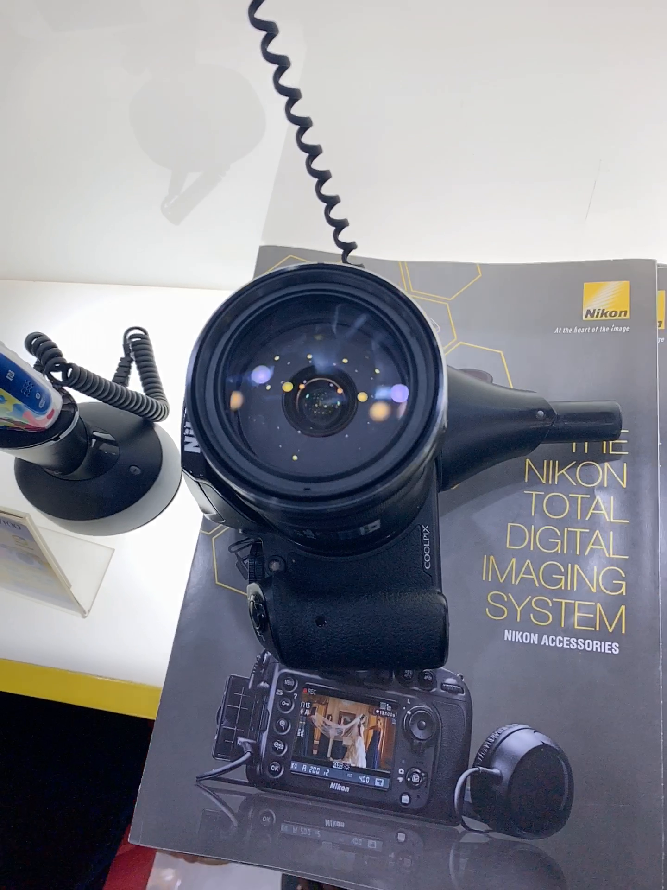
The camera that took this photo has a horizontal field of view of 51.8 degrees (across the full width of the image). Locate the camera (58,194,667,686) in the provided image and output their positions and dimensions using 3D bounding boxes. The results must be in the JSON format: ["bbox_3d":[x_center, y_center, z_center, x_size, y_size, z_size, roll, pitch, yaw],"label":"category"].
[{"bbox_3d":[0.035,0.005,0.236,0.200,0.100,0.140,0,69,1],"label":"camera"}]
